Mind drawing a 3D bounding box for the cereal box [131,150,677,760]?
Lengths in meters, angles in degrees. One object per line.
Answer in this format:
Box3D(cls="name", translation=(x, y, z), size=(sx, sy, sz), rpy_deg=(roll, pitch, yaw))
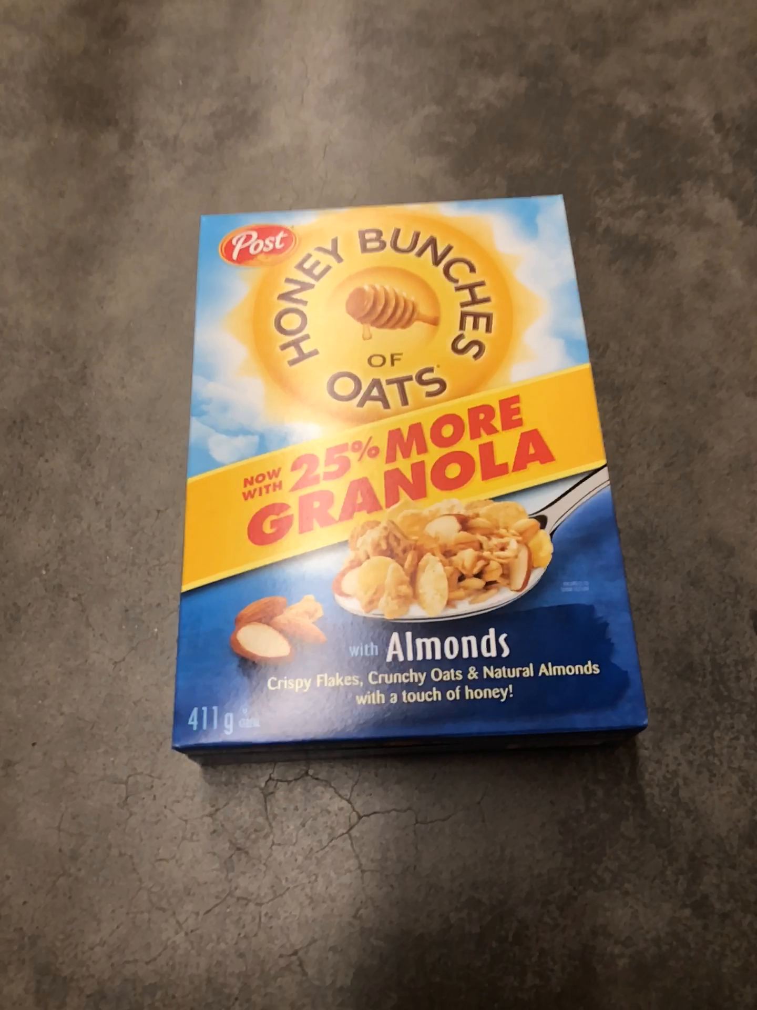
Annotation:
Box3D(cls="cereal box", translation=(0.004, -0.031, 0.383), size=(0.200, 0.060, 0.271), rpy_deg=(-3, 68, 1))
